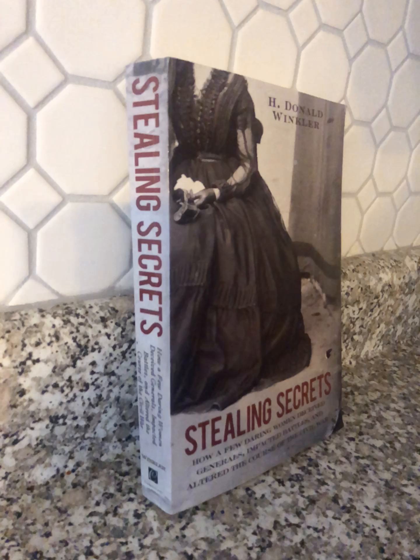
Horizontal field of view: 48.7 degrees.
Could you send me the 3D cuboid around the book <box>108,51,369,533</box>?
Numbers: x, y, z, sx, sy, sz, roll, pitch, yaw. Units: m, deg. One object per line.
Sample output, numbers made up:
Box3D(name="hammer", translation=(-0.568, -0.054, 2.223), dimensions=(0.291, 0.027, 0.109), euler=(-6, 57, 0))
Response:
Box3D(name="book", translation=(0.028, 0.002, 0.280), dimensions=(0.162, 0.226, 0.041), euler=(-9, 12, -38))
